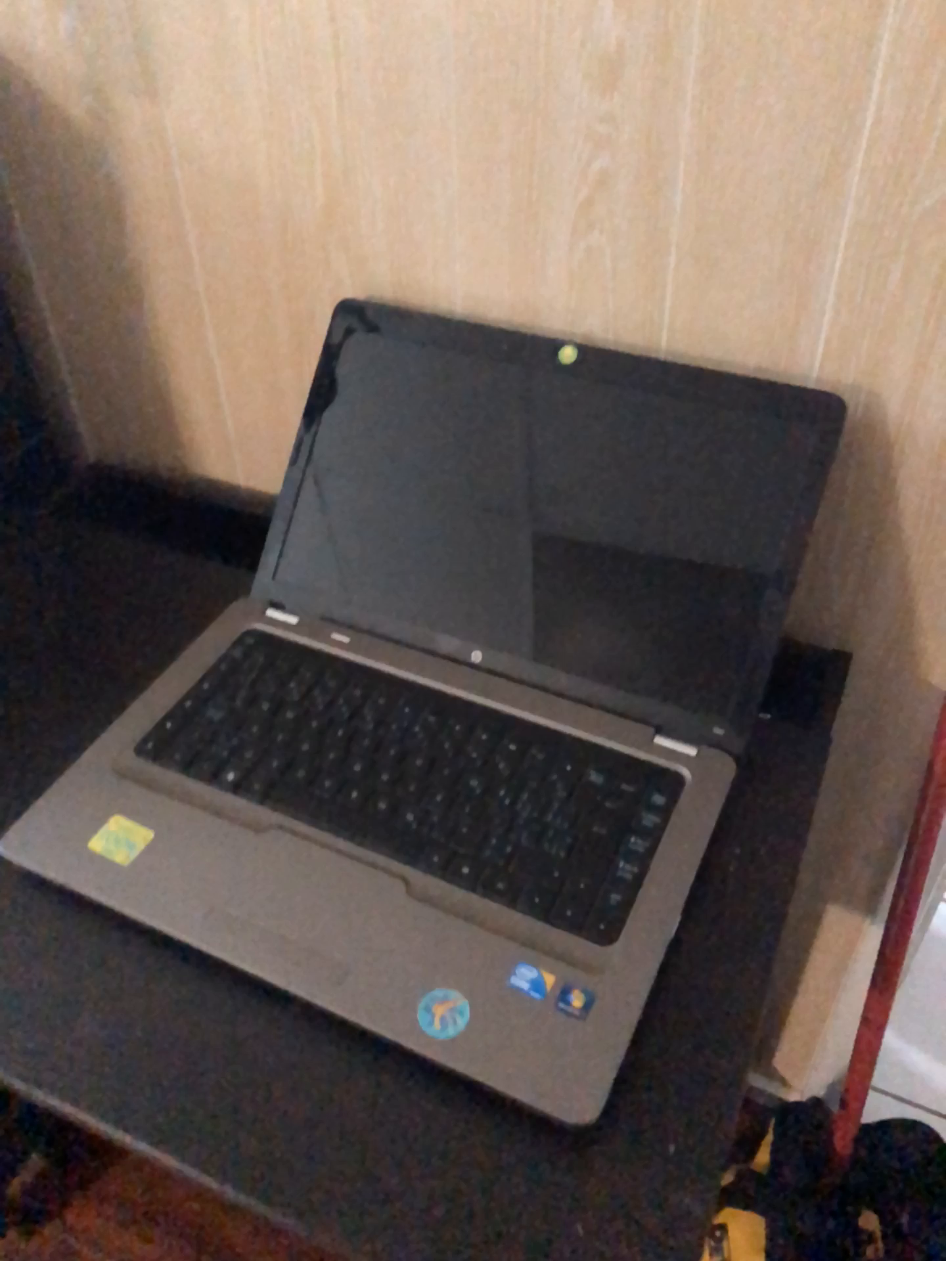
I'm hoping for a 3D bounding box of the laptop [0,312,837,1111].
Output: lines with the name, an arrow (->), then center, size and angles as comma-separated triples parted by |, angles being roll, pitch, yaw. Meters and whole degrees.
laptop -> -0.023, -0.007, 0.621 | 0.356, 0.166, 0.403 | 16, 44, 21
